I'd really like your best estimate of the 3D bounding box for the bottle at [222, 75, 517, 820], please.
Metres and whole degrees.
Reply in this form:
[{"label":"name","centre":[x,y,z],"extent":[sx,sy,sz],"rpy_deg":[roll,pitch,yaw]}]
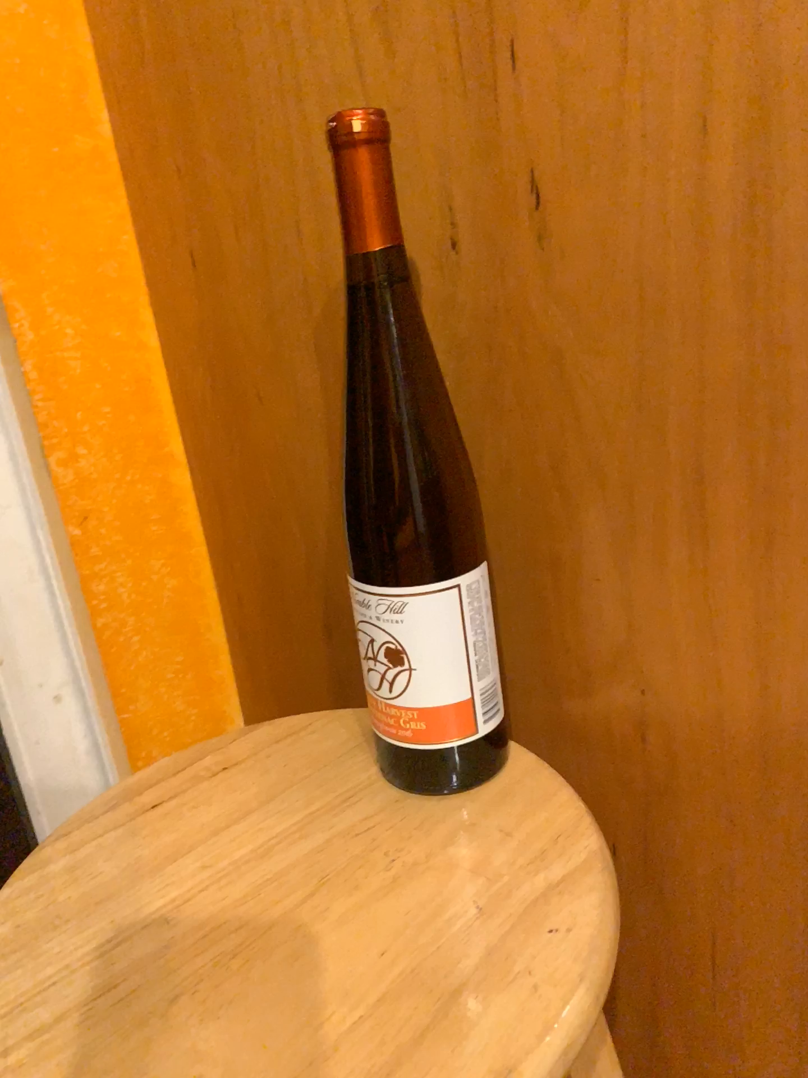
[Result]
[{"label":"bottle","centre":[-0.010,-0.032,0.406],"extent":[0.080,0.329,0.060],"rpy_deg":[10,25,44]}]
